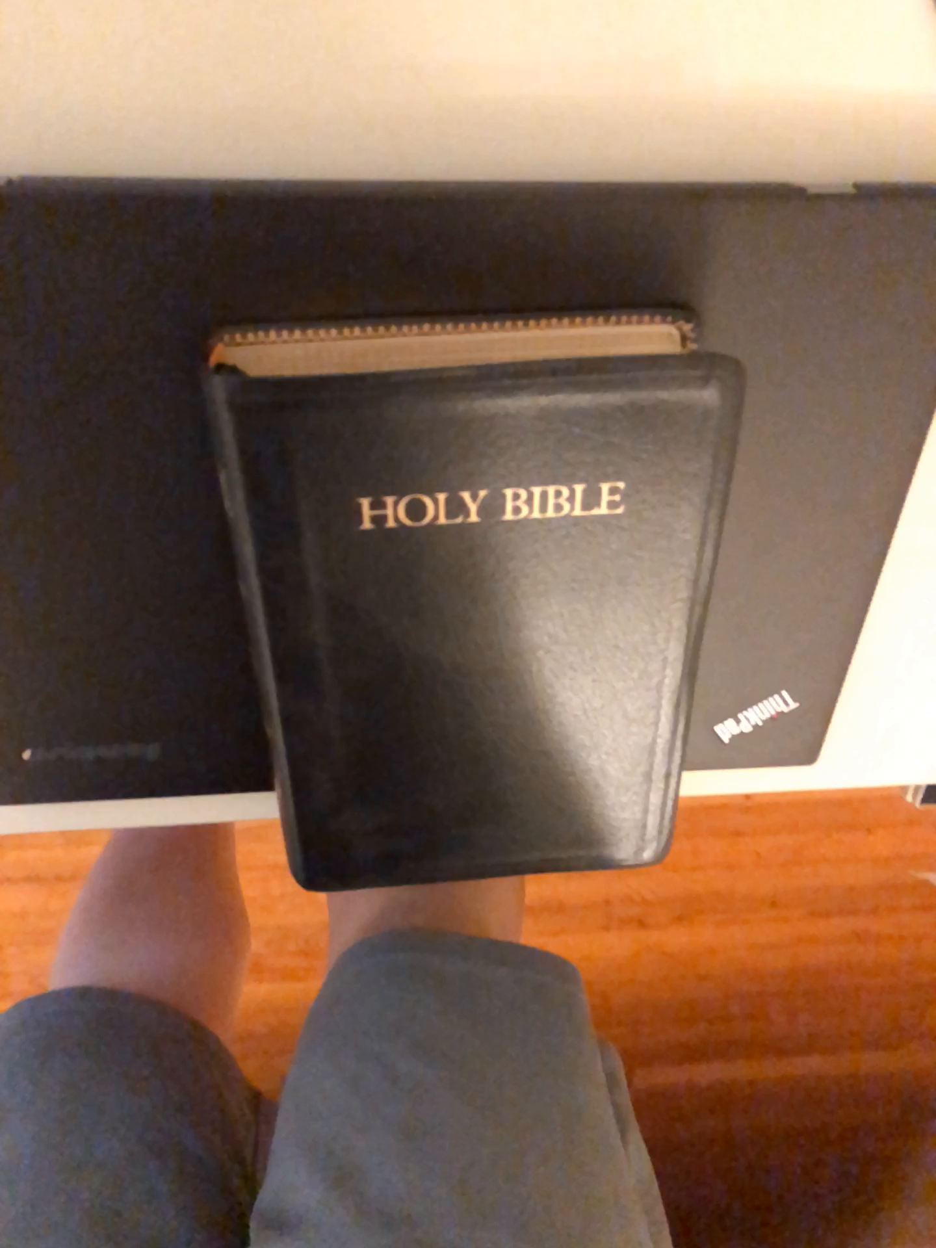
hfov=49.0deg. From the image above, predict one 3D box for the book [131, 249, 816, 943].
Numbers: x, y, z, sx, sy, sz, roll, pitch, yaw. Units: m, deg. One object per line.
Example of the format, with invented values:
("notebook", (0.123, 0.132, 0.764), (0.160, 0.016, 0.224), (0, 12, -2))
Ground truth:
("book", (0.002, 0.007, 0.341), (0.170, 0.040, 0.241), (-3, 126, -4))
